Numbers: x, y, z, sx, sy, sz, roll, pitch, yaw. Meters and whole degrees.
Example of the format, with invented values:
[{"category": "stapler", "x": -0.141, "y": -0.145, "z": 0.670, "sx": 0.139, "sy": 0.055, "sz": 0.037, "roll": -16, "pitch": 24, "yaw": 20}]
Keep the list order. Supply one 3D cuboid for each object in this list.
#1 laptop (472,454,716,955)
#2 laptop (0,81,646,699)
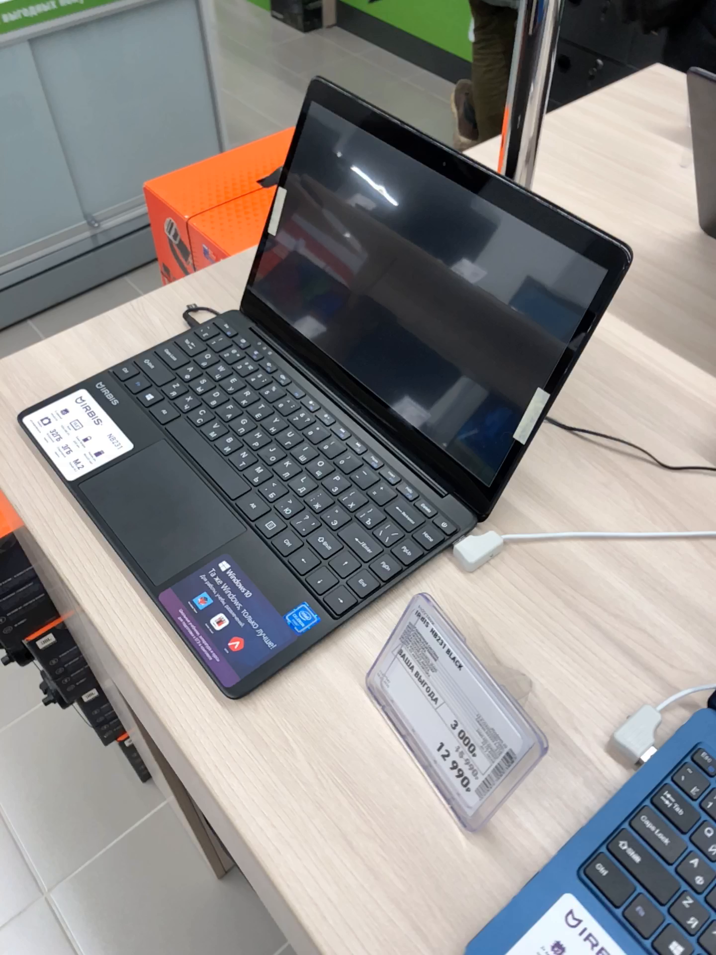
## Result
[{"category": "laptop", "x": 0.257, "y": 0.198, "z": 0.272, "sx": 0.266, "sy": 0.186, "sz": 0.309, "roll": -30, "pitch": 55, "yaw": -24}, {"category": "laptop", "x": -0.049, "y": -0.089, "z": 0.537, "sx": 0.306, "sy": 0.172, "sz": 0.305, "roll": -32, "pitch": 55, "yaw": -24}]
